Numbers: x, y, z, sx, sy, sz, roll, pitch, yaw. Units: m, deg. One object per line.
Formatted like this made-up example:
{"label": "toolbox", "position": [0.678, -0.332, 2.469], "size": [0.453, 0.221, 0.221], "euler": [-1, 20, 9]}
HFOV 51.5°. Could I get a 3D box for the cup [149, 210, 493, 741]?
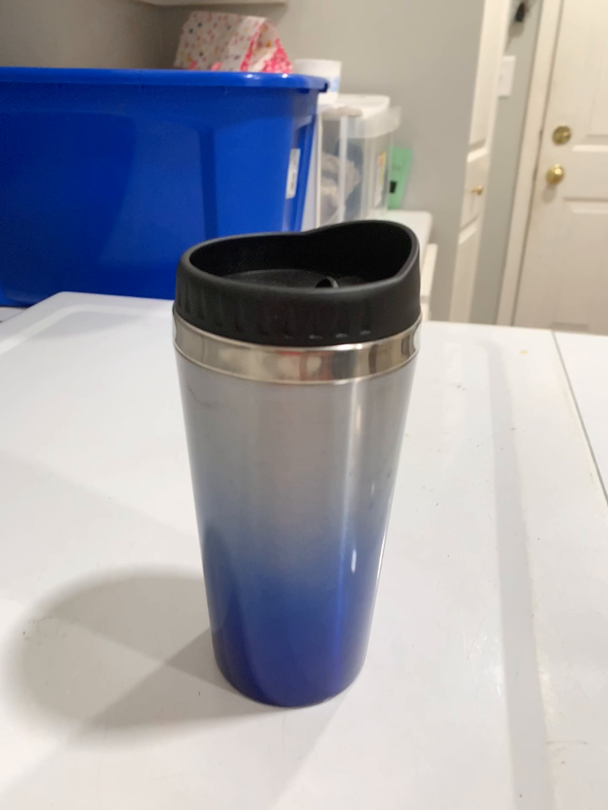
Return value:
{"label": "cup", "position": [-0.001, 0.023, 0.239], "size": [0.089, 0.171, 0.080], "euler": [-8, 27, -15]}
